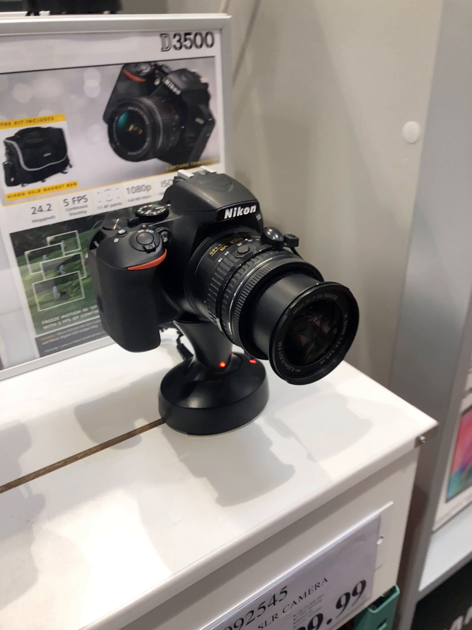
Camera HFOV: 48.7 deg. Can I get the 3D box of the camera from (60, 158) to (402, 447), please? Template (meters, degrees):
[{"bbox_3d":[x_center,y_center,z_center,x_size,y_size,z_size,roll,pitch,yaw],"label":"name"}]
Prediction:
[{"bbox_3d":[-0.008,-0.024,0.305,0.130,0.089,0.141,-19,34,-29],"label":"camera"}]
